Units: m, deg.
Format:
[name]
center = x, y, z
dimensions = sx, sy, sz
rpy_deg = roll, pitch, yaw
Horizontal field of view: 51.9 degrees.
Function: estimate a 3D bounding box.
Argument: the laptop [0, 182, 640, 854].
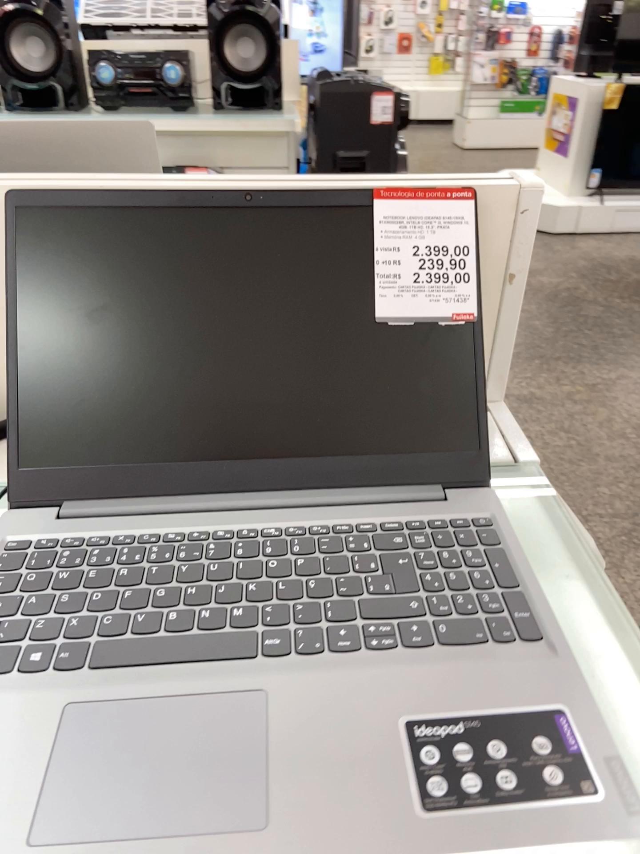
[laptop]
center = -0.045, 0.000, 0.407
dimensions = 0.369, 0.192, 0.404
rpy_deg = -2, 34, -4
